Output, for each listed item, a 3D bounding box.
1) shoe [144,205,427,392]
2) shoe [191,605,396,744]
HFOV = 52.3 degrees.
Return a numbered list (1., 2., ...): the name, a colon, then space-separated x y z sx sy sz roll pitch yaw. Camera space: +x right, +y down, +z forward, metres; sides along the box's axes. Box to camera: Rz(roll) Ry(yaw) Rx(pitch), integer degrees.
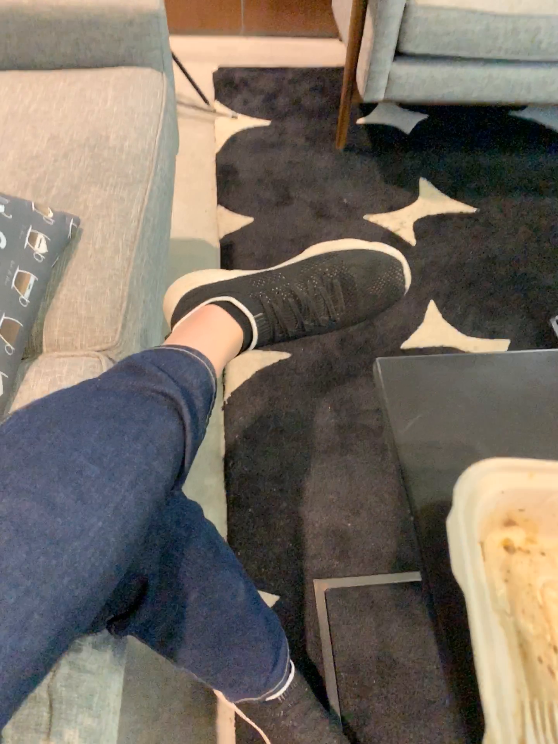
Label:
1. shoe: 0.011 -0.083 0.637 0.276 0.112 0.133 -9 37 7
2. shoe: 0.010 0.505 0.807 0.116 0.074 0.304 -31 60 -23
